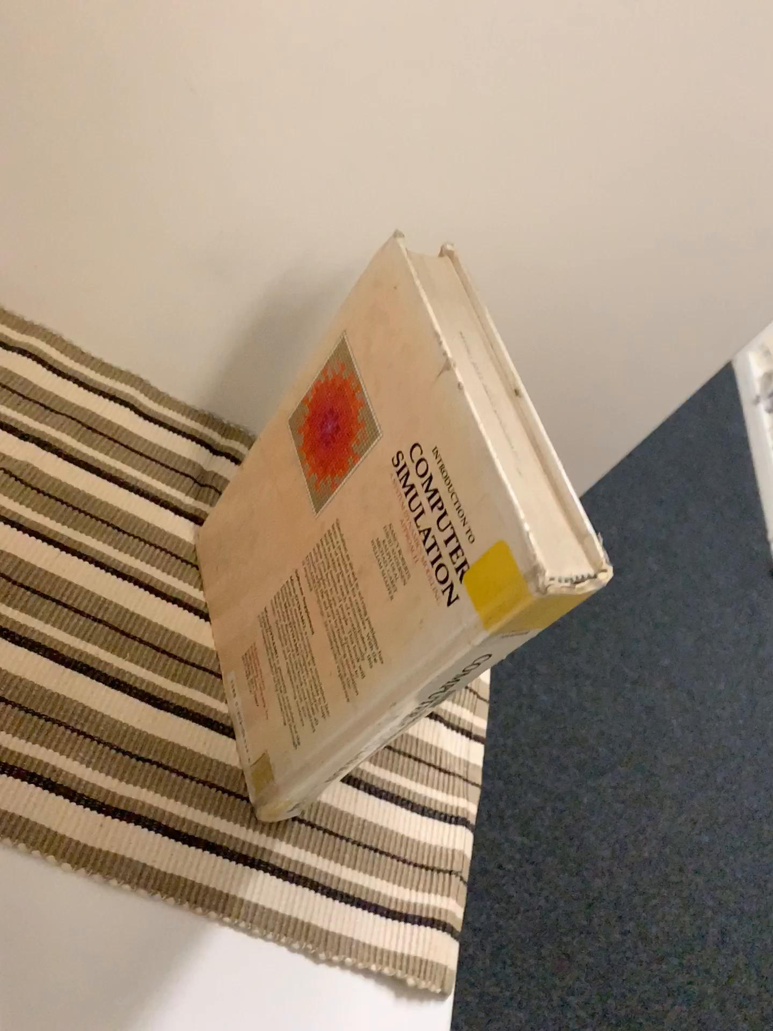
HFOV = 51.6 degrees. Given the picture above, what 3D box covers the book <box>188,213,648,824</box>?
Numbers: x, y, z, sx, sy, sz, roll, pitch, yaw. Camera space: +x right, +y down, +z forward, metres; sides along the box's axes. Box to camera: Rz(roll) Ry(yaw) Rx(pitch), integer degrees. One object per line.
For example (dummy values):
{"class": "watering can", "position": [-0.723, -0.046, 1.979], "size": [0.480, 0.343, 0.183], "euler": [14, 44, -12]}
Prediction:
{"class": "book", "position": [-0.016, 0.016, 0.373], "size": [0.040, 0.238, 0.171], "euler": [0, 55, -36]}
